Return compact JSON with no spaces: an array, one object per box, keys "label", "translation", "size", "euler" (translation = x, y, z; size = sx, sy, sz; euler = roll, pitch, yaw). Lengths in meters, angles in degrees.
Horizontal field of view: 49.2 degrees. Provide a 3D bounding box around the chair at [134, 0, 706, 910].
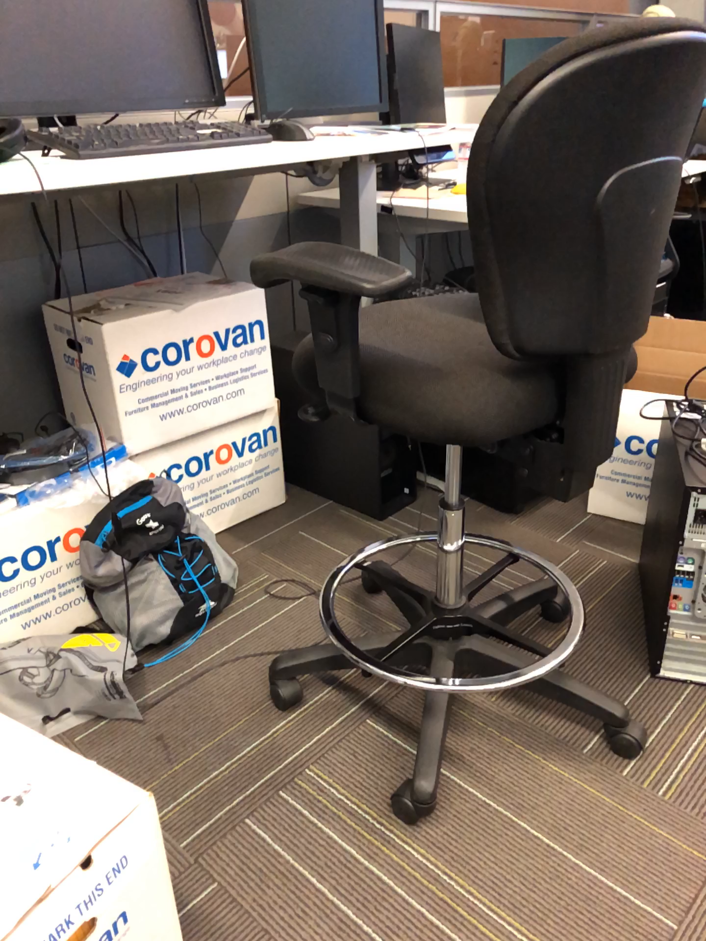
[{"label":"chair","translation":[0.190,-0.102,1.286],"size":[0.642,1.134,0.732],"euler":[-23,33,-37]}]
